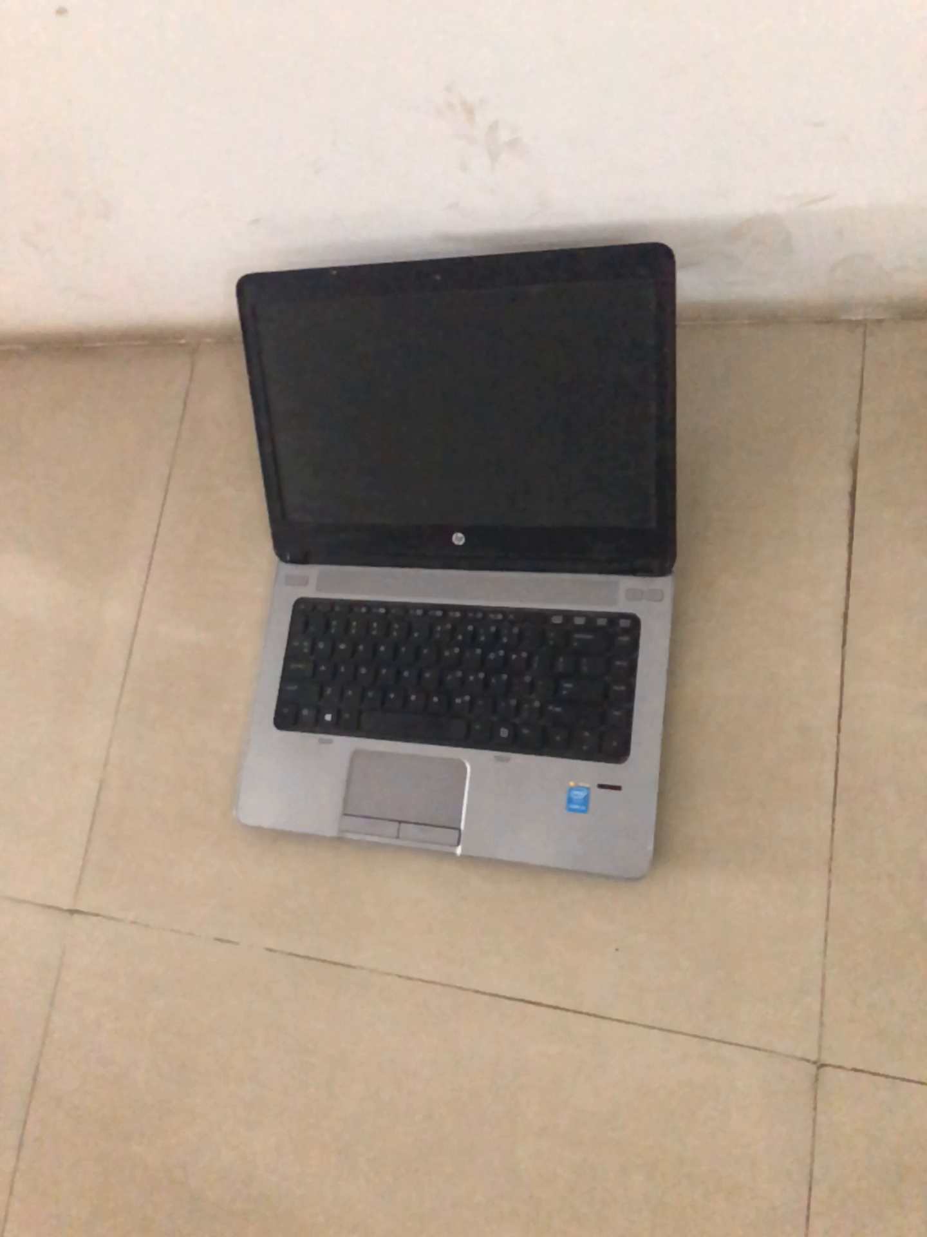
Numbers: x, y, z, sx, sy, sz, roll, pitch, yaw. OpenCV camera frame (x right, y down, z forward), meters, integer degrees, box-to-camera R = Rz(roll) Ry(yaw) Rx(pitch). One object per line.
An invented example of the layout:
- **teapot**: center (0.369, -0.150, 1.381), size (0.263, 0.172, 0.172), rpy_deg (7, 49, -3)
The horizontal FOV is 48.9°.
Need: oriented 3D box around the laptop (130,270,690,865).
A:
- **laptop**: center (-0.021, -0.041, 0.748), size (0.319, 0.146, 0.385), rpy_deg (4, 74, 19)
